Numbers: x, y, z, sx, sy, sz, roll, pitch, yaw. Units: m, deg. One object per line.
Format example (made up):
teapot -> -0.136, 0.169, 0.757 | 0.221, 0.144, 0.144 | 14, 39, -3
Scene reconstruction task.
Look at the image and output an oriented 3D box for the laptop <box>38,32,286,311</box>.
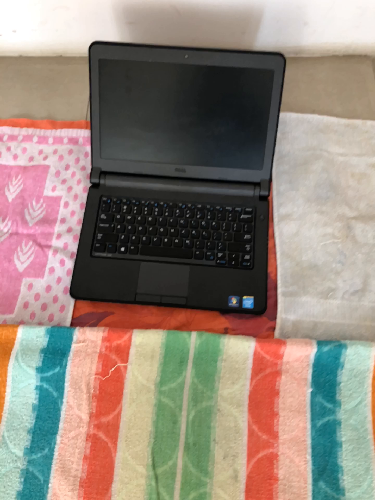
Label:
laptop -> -0.017, -0.126, 0.661 | 0.313, 0.143, 0.392 | 4, 70, 2
